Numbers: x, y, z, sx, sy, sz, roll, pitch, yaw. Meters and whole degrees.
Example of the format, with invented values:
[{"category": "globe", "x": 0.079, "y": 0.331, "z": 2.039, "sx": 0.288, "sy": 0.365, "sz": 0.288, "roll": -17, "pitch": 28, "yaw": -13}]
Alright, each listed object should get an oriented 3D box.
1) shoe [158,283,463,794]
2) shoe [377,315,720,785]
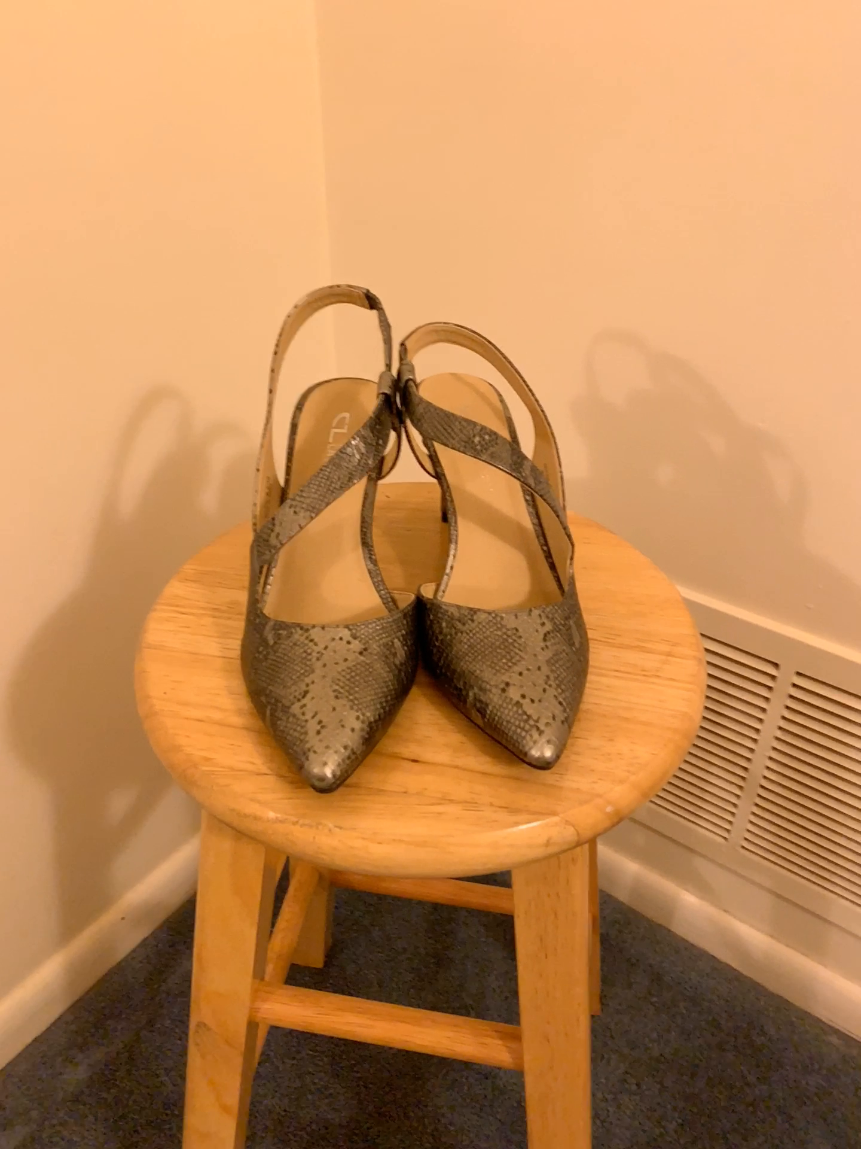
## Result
[{"category": "shoe", "x": -0.046, "y": -0.040, "z": 0.438, "sx": 0.100, "sy": 0.125, "sz": 0.271, "roll": -1, "pitch": 35, "yaw": -2}, {"category": "shoe", "x": 0.035, "y": -0.033, "z": 0.437, "sx": 0.102, "sy": 0.106, "sz": 0.251, "roll": -3, "pitch": 35, "yaw": -6}]
